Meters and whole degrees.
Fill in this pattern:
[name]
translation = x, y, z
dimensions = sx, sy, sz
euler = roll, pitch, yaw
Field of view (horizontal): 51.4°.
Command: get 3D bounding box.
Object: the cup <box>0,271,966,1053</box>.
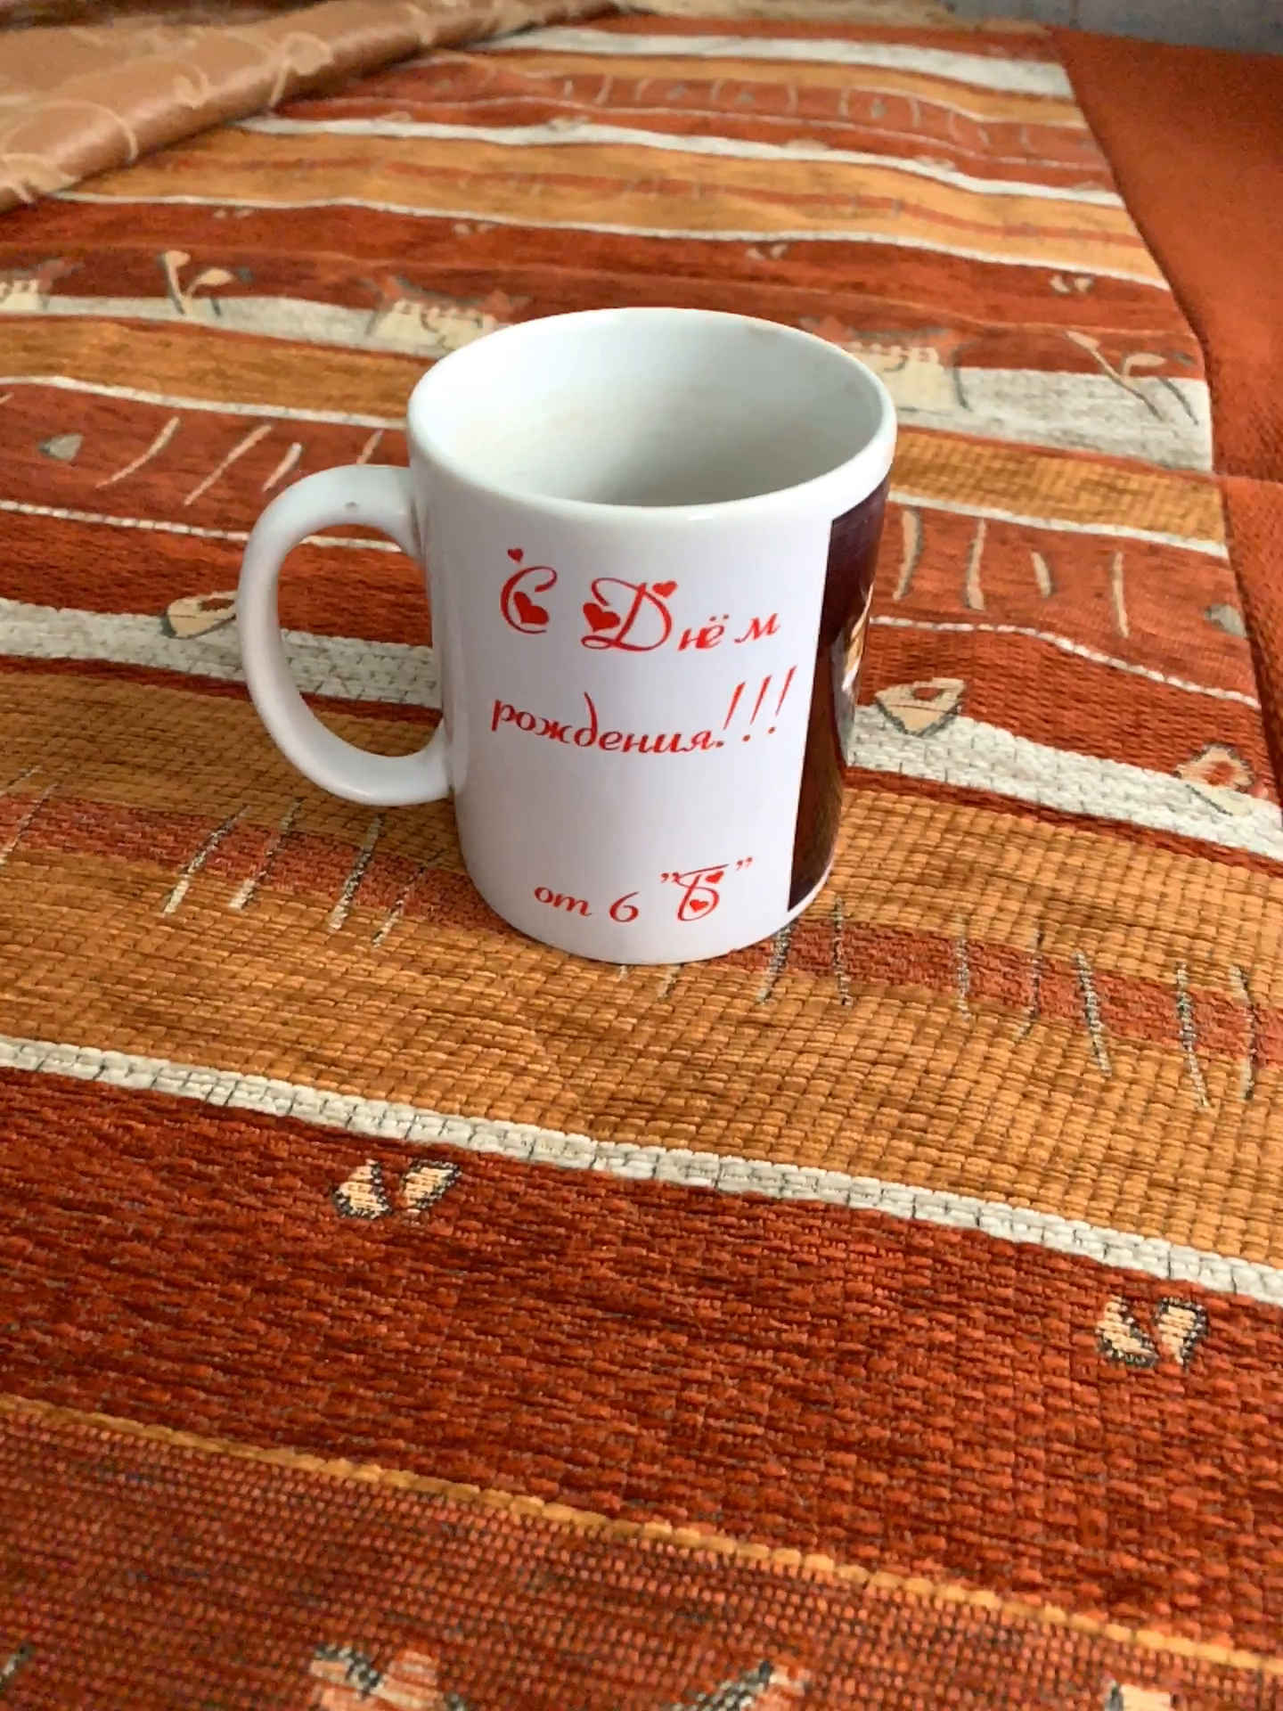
[cup]
translation = -0.021, -0.031, 0.207
dimensions = 0.110, 0.089, 0.081
euler = -1, 41, -2
